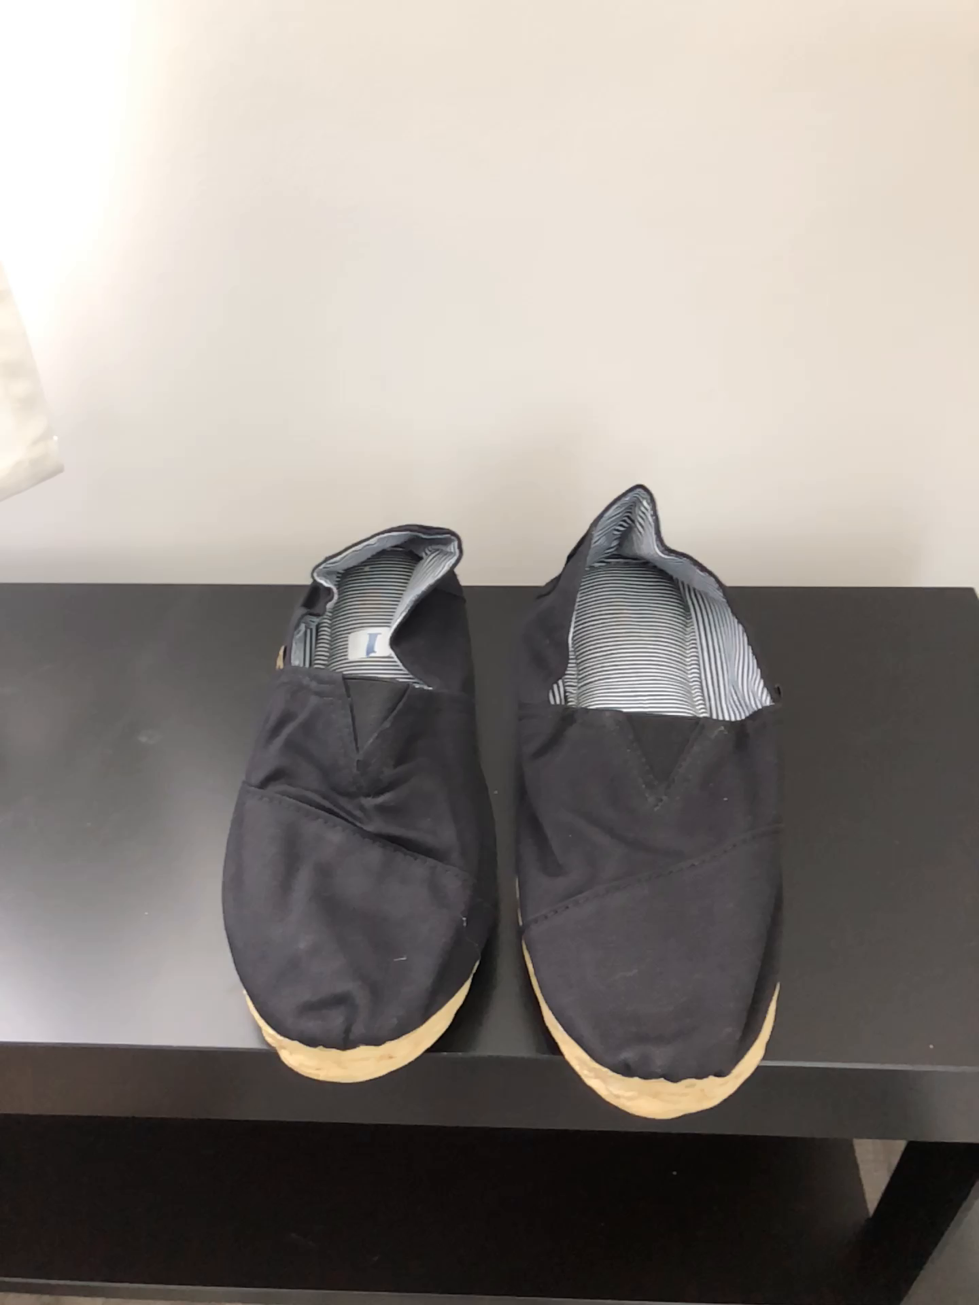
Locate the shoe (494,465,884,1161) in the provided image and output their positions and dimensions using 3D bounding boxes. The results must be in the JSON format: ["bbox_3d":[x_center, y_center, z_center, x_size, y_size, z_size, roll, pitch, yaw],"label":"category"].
[{"bbox_3d":[0.056,0.036,0.412,0.101,0.080,0.275,0,41,2],"label":"shoe"}]

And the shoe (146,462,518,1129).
[{"bbox_3d":[-0.040,0.032,0.426,0.101,0.080,0.275,0,41,2],"label":"shoe"}]
